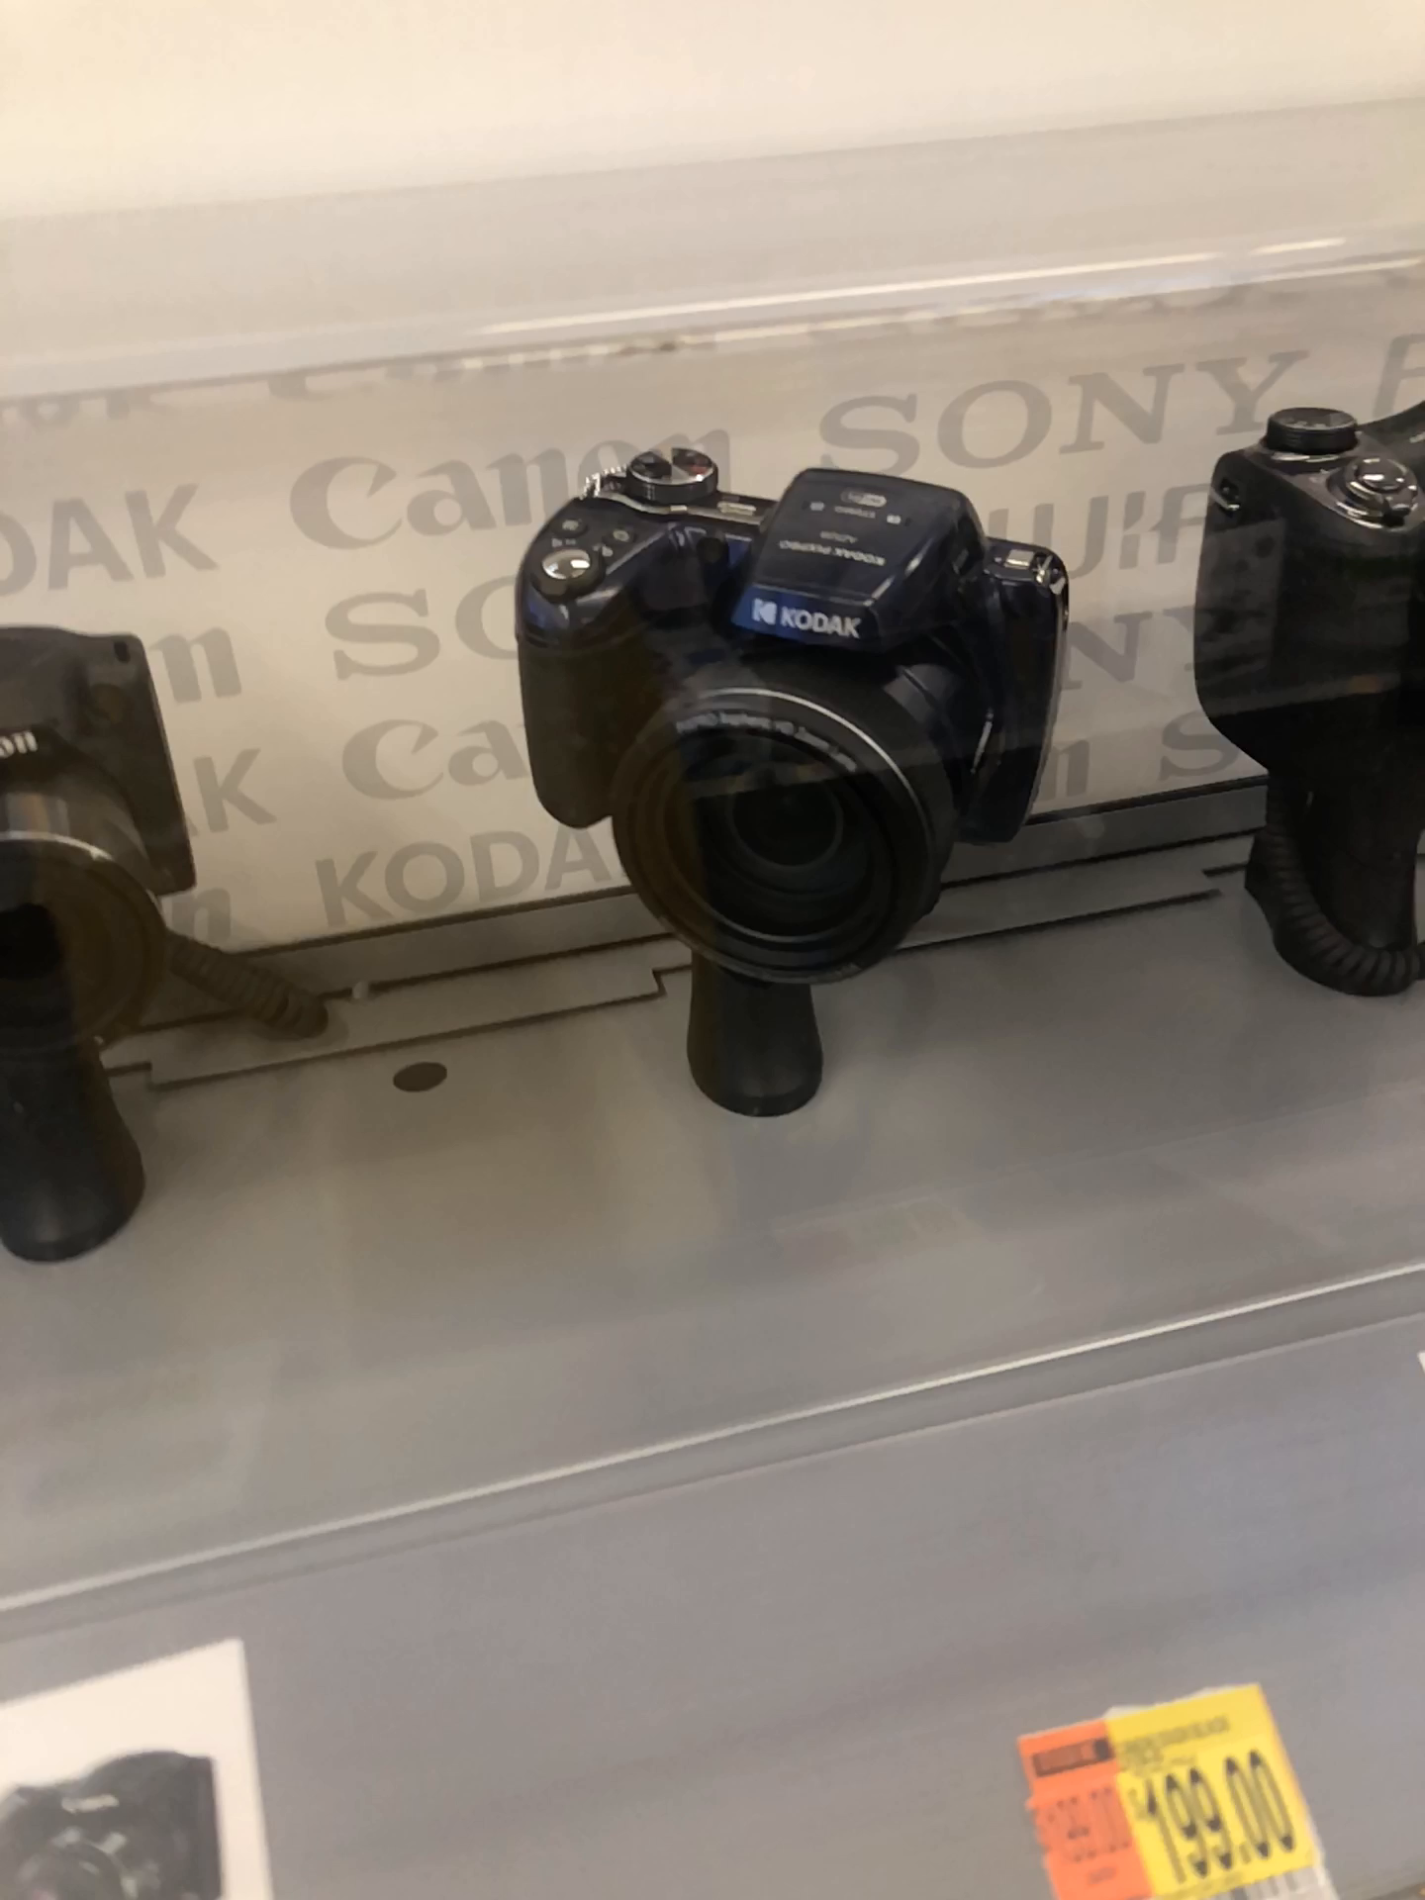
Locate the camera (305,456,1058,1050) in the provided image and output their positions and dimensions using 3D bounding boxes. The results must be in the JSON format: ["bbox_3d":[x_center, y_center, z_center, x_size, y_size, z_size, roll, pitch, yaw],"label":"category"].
[{"bbox_3d":[0.000,-0.053,0.356,0.130,0.080,0.111,10,33,17],"label":"camera"}]
